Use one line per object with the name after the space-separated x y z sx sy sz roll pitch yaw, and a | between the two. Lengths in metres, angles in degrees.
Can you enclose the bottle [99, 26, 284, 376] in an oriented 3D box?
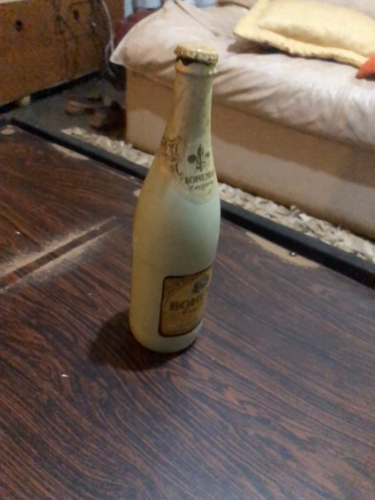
-0.005 -0.027 0.326 0.080 0.248 0.080 3 36 -2 | bottle
